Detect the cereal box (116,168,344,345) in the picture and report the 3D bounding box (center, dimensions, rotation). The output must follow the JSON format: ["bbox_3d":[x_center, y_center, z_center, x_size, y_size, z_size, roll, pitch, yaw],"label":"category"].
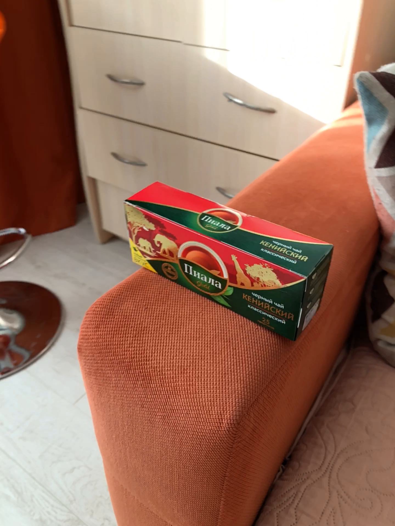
[{"bbox_3d":[0.017,-0.013,0.344,0.170,0.069,0.050,24,42,29],"label":"cereal box"}]
